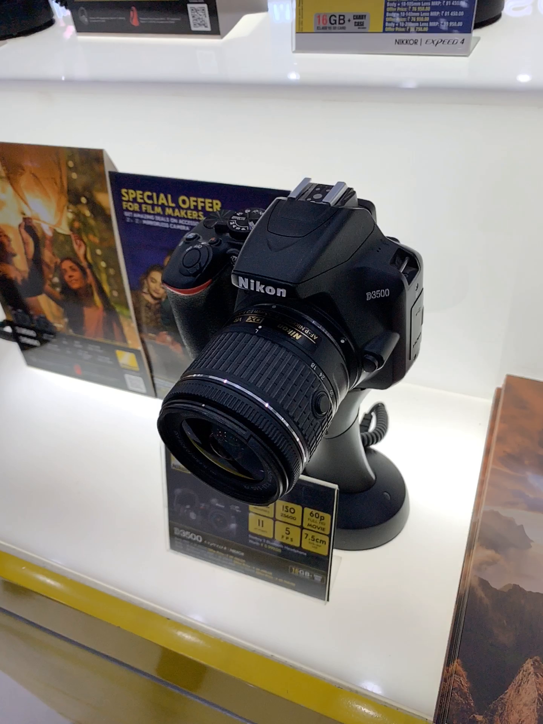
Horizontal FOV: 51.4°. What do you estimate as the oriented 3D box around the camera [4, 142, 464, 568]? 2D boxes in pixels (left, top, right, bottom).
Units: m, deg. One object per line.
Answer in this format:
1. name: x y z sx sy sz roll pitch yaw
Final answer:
1. camera: 0.000 -0.020 0.231 0.110 0.070 0.150 16 49 24
